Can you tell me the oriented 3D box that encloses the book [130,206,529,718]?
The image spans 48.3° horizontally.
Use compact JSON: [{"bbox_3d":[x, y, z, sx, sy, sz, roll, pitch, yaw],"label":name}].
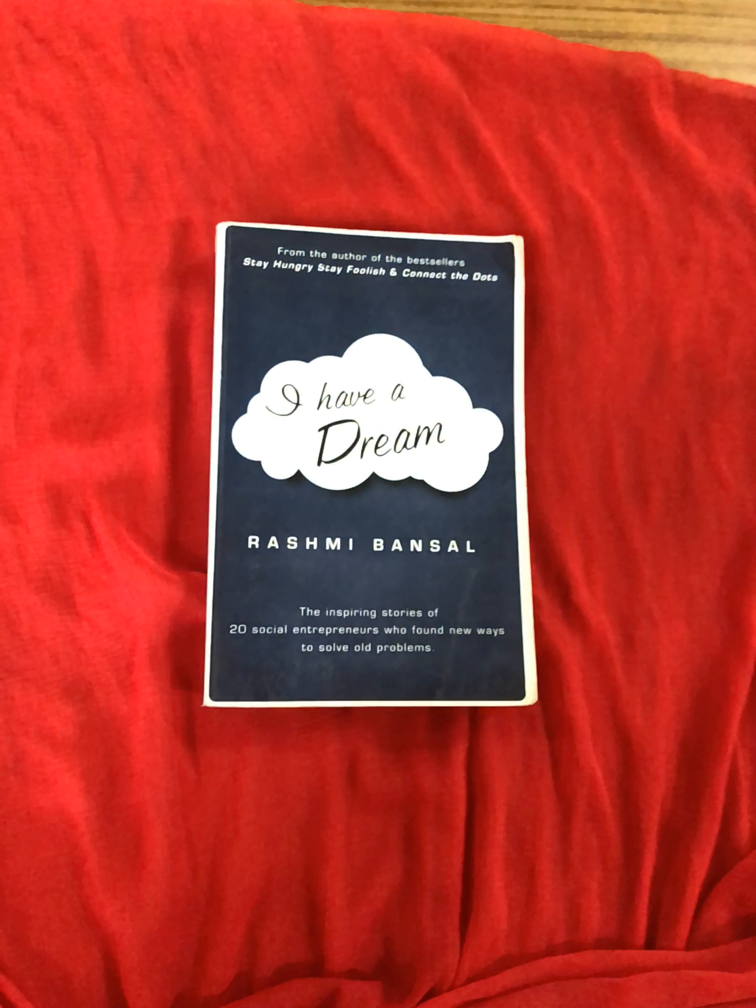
[{"bbox_3d":[-0.017,-0.016,0.330,0.140,0.040,0.190,1,82,-3],"label":"book"}]
